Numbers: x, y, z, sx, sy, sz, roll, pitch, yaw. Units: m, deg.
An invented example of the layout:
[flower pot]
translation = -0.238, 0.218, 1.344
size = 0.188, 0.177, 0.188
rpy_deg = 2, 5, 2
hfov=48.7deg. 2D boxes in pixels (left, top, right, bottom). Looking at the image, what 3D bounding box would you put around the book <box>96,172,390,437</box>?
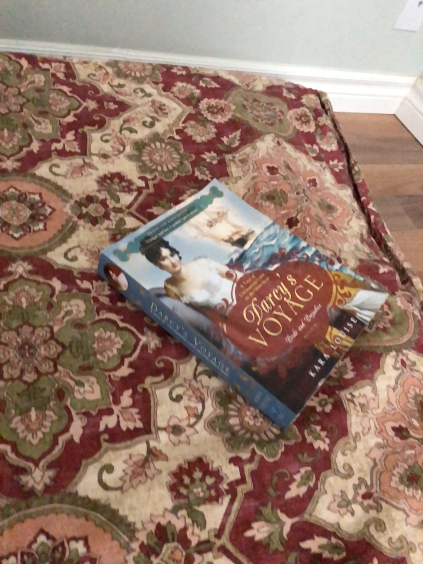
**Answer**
[book]
translation = 0.030, 0.002, 0.399
size = 0.200, 0.034, 0.155
rpy_deg = 39, 50, 14
